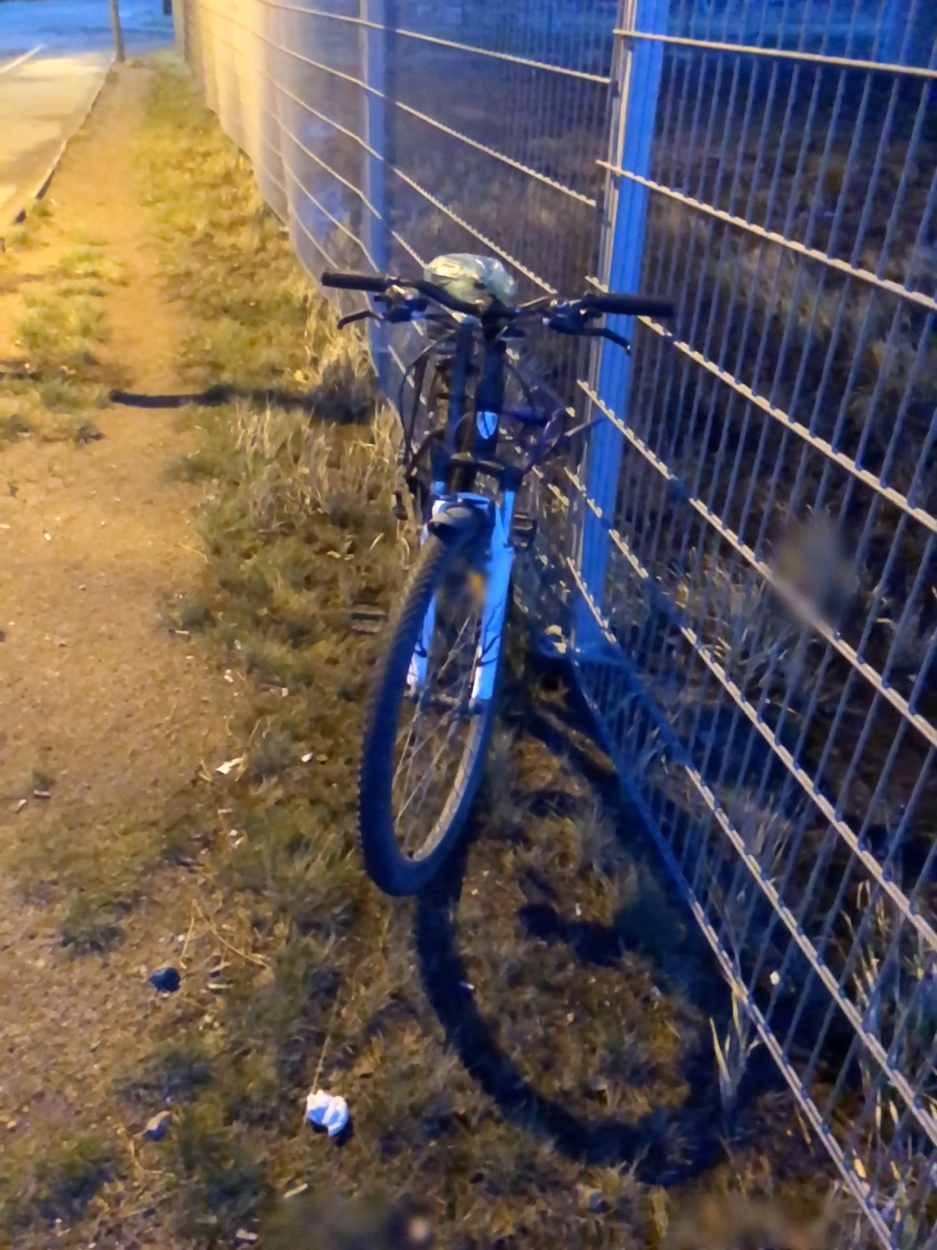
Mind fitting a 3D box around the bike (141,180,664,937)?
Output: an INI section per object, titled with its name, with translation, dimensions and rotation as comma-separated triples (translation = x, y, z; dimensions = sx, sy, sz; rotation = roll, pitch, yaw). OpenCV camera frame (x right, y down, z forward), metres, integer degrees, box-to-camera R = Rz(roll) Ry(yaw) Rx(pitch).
[bike]
translation = -0.072, -0.305, 2.056
dimensions = 0.569, 0.947, 1.592
rotation = 2, 29, -1
